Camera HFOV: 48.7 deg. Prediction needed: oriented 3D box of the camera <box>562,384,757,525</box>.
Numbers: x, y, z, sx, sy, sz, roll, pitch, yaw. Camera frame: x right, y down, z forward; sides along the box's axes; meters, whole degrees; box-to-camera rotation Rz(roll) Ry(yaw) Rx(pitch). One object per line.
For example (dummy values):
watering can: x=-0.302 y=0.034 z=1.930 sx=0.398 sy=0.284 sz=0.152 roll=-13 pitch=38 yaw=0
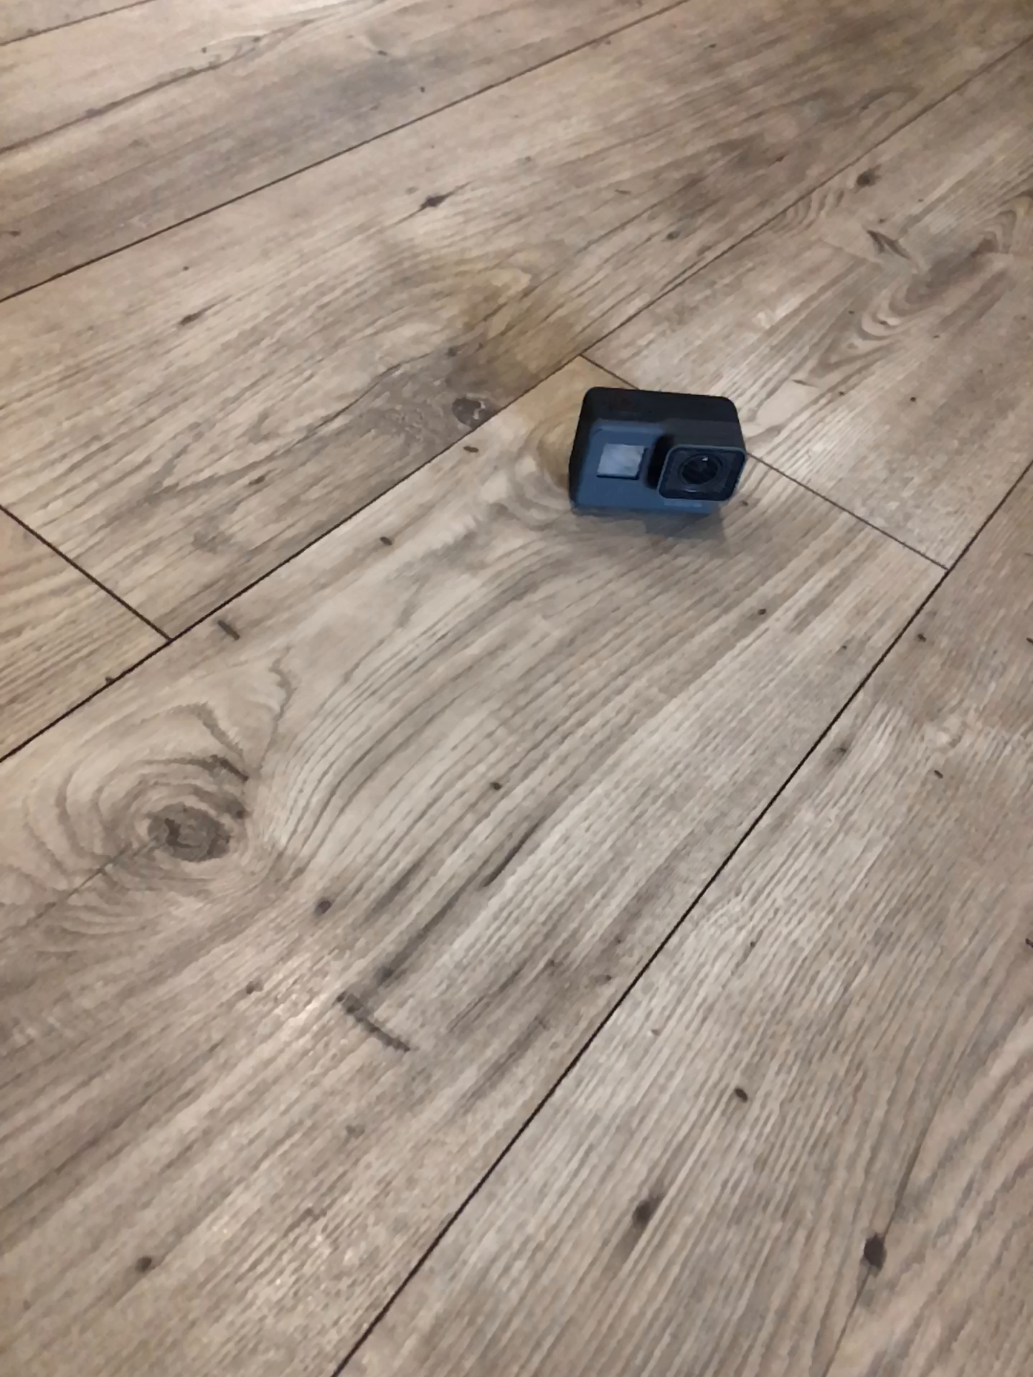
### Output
camera: x=0.055 y=-0.092 z=0.450 sx=0.065 sy=0.040 sz=0.032 roll=2 pitch=52 yaw=-9
